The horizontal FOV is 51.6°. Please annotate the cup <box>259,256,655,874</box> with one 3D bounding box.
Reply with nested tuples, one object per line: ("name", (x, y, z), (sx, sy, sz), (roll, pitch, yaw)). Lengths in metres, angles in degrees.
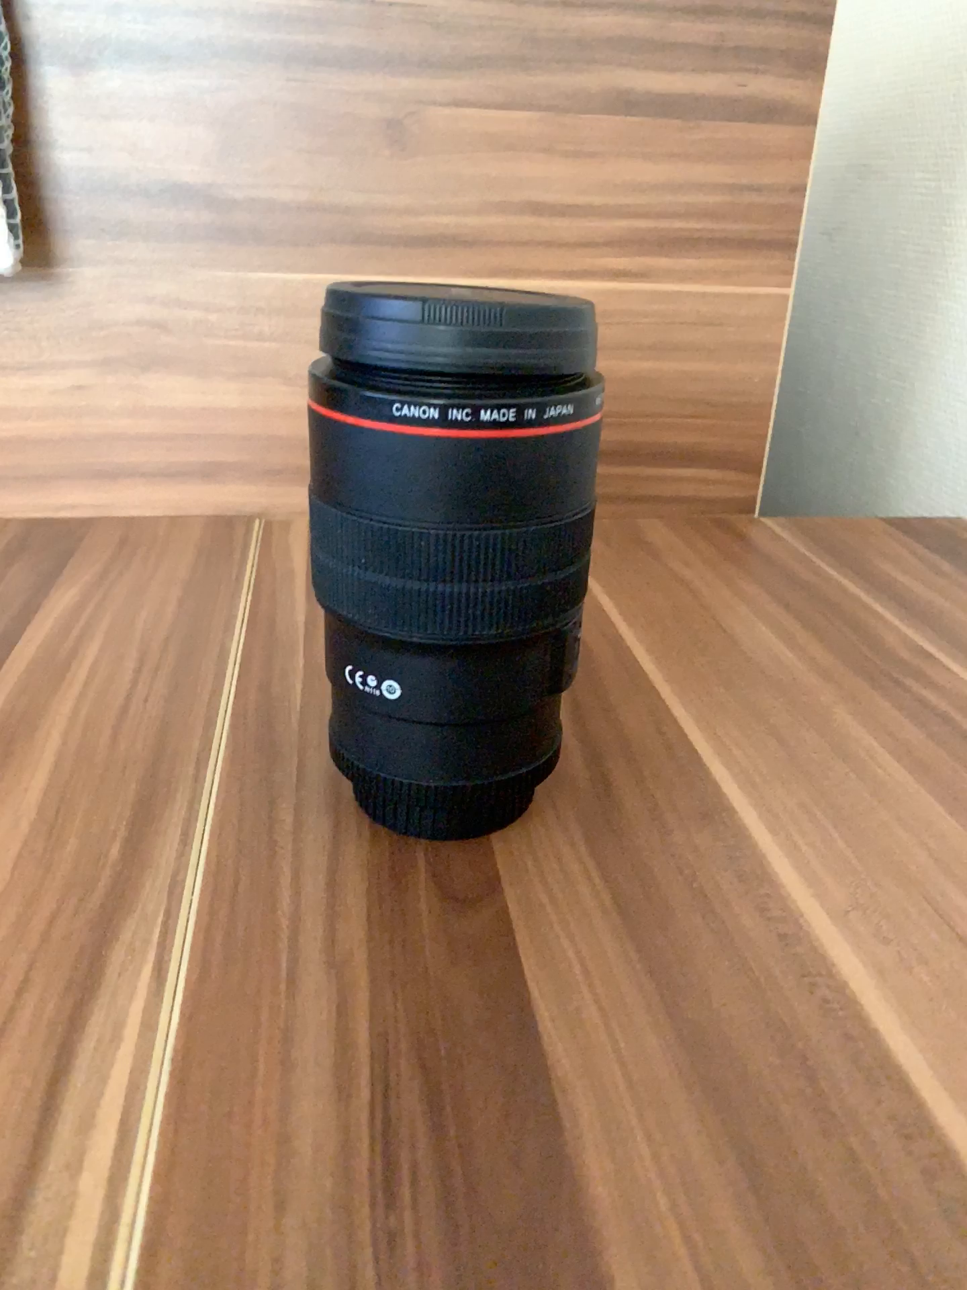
("cup", (-0.013, -0.027, 0.270), (0.070, 0.139, 0.080), (-8, 27, -23))
